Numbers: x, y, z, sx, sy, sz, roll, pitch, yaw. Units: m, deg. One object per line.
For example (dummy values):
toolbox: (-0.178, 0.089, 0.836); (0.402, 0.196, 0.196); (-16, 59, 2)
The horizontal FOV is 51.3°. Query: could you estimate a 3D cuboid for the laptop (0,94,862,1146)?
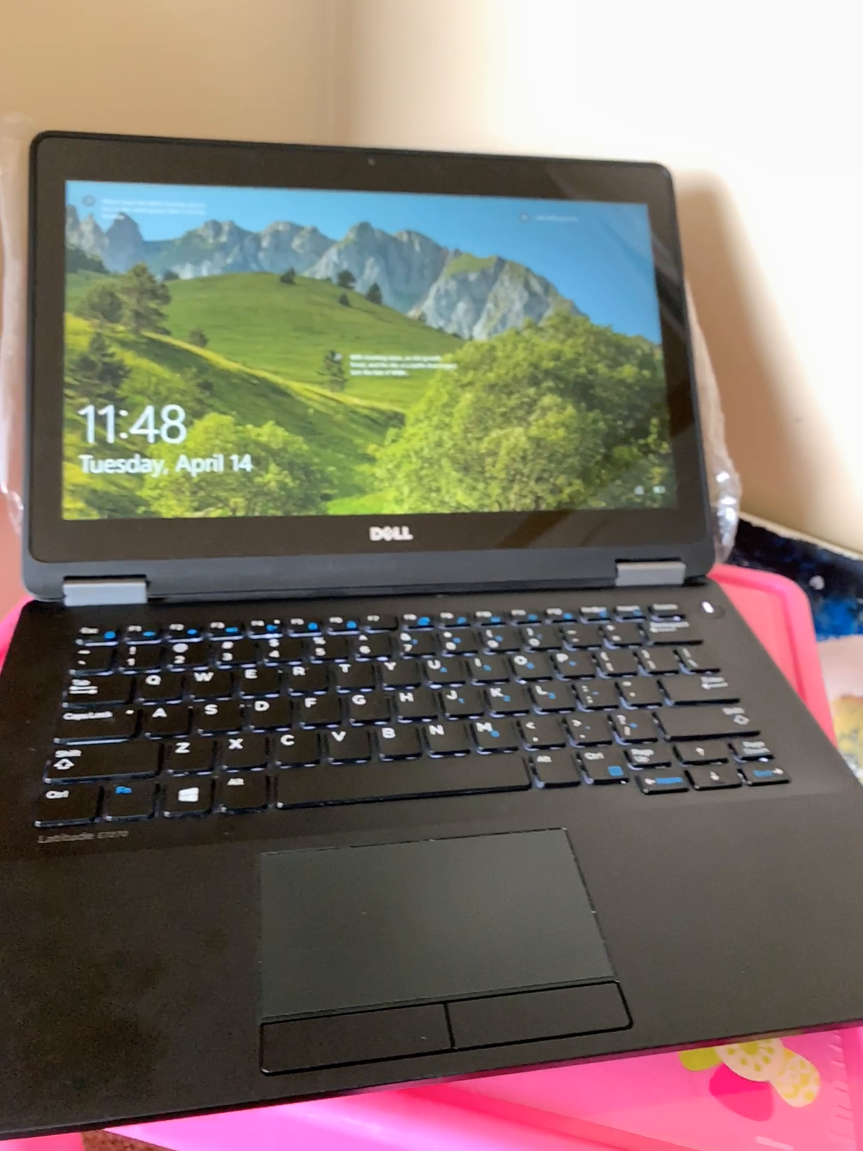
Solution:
laptop: (-0.004, -0.036, 0.283); (0.261, 0.121, 0.303); (-2, 40, -11)
